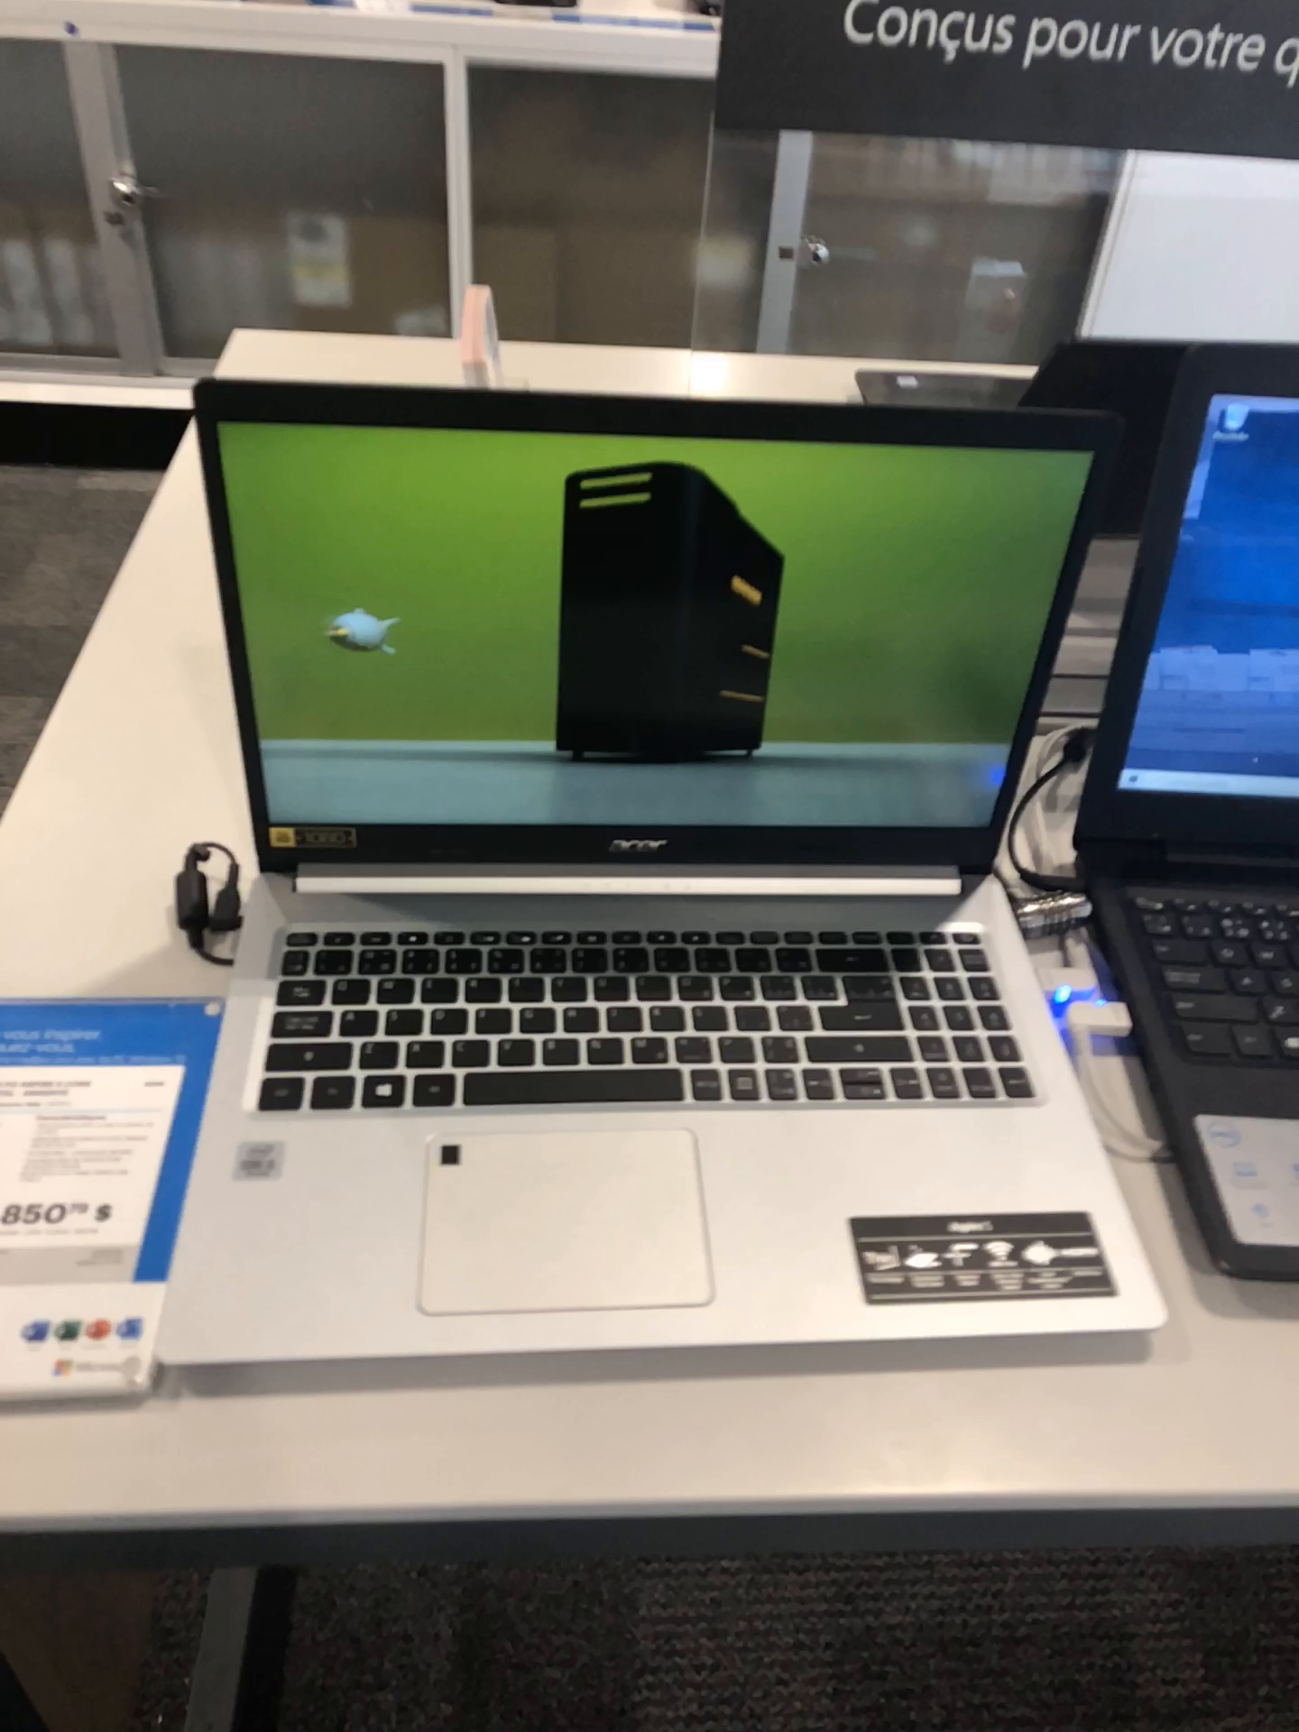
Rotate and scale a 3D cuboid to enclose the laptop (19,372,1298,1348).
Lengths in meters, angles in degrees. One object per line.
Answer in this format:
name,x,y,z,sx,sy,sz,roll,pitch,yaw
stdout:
laptop,0.005,-0.011,0.527,0.349,0.229,0.268,0,42,-5
